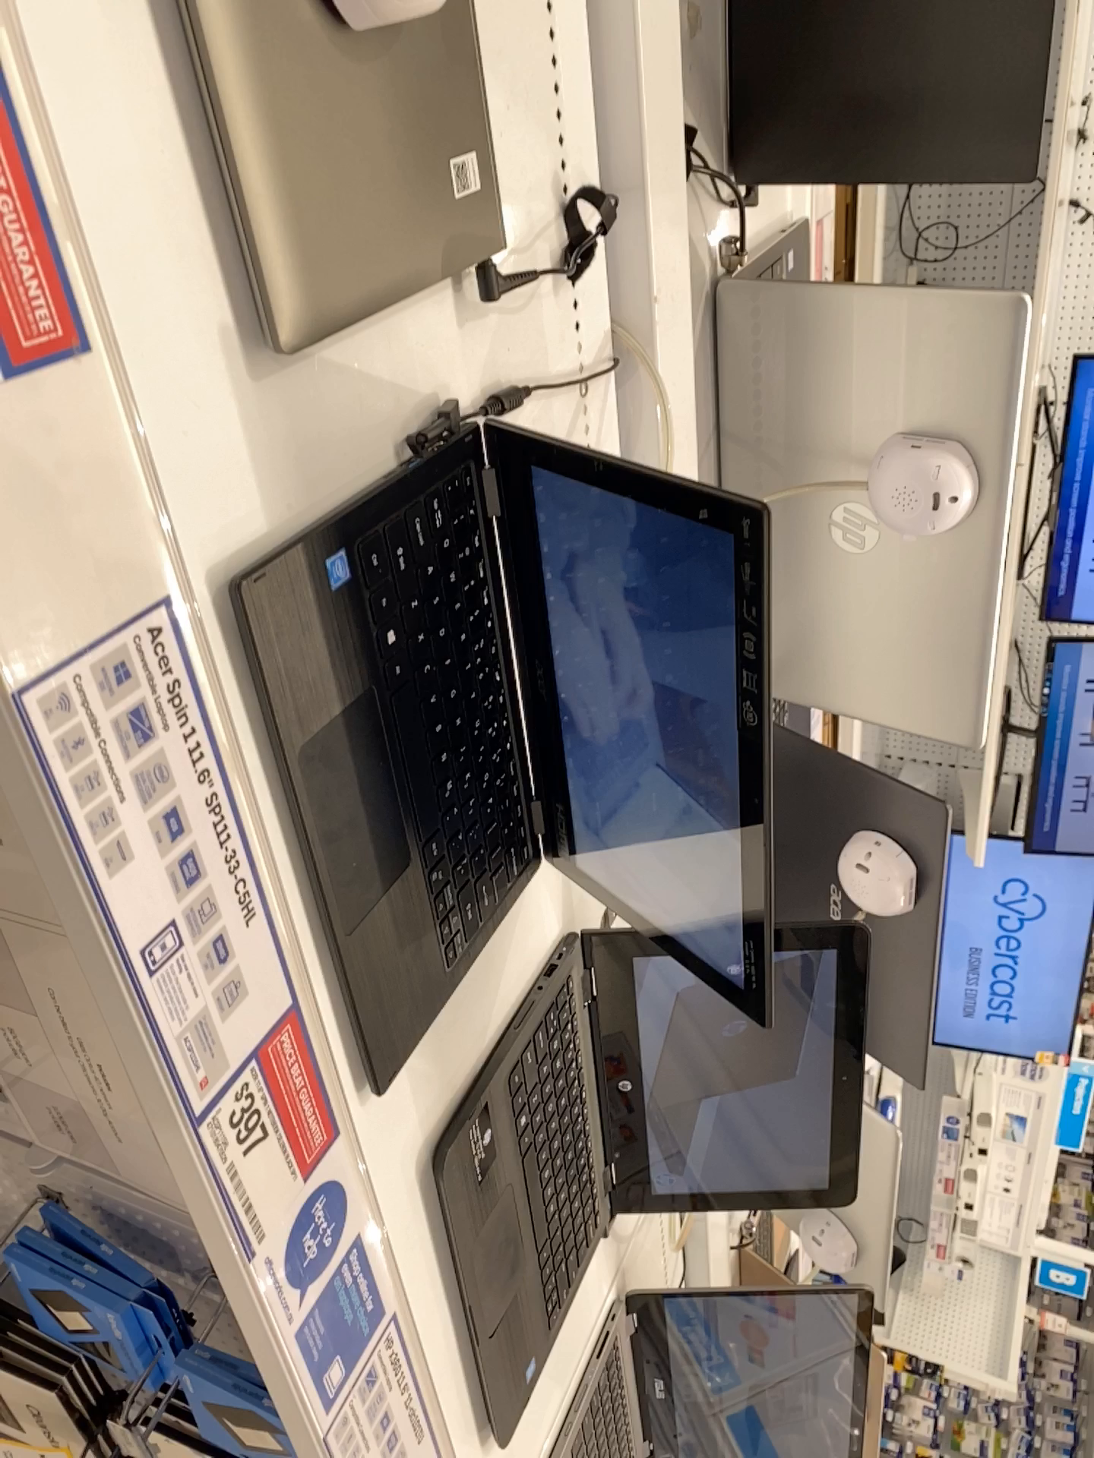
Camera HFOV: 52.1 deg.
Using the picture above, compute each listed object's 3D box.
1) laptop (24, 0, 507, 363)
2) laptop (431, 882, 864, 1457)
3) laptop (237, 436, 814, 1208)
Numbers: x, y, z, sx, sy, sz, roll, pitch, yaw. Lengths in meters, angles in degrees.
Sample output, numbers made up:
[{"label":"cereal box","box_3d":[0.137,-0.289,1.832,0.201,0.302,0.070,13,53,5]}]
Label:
[{"label":"laptop","box_3d":[-0.081,-0.320,0.439,0.195,0.001,0.285,-50,139,-49]},{"label":"laptop","box_3d":[0.102,0.338,0.824,0.297,0.190,0.324,-50,141,-49]},{"label":"laptop","box_3d":[0.016,0.033,0.545,0.197,0.175,0.291,-49,141,-49]}]
